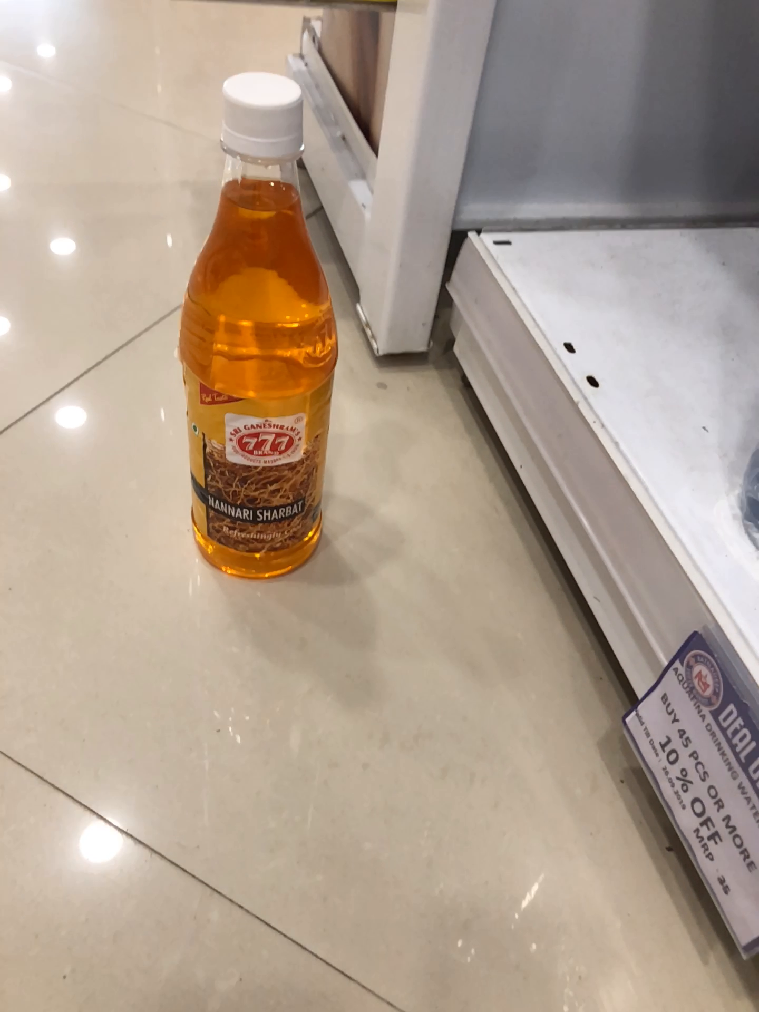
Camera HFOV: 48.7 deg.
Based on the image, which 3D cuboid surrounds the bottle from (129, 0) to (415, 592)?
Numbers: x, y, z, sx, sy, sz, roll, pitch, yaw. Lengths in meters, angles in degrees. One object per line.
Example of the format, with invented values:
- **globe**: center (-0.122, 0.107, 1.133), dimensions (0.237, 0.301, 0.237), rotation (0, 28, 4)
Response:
- **bottle**: center (-0.058, -0.087, 0.438), dimensions (0.100, 0.298, 0.101), rotation (5, 47, -5)
